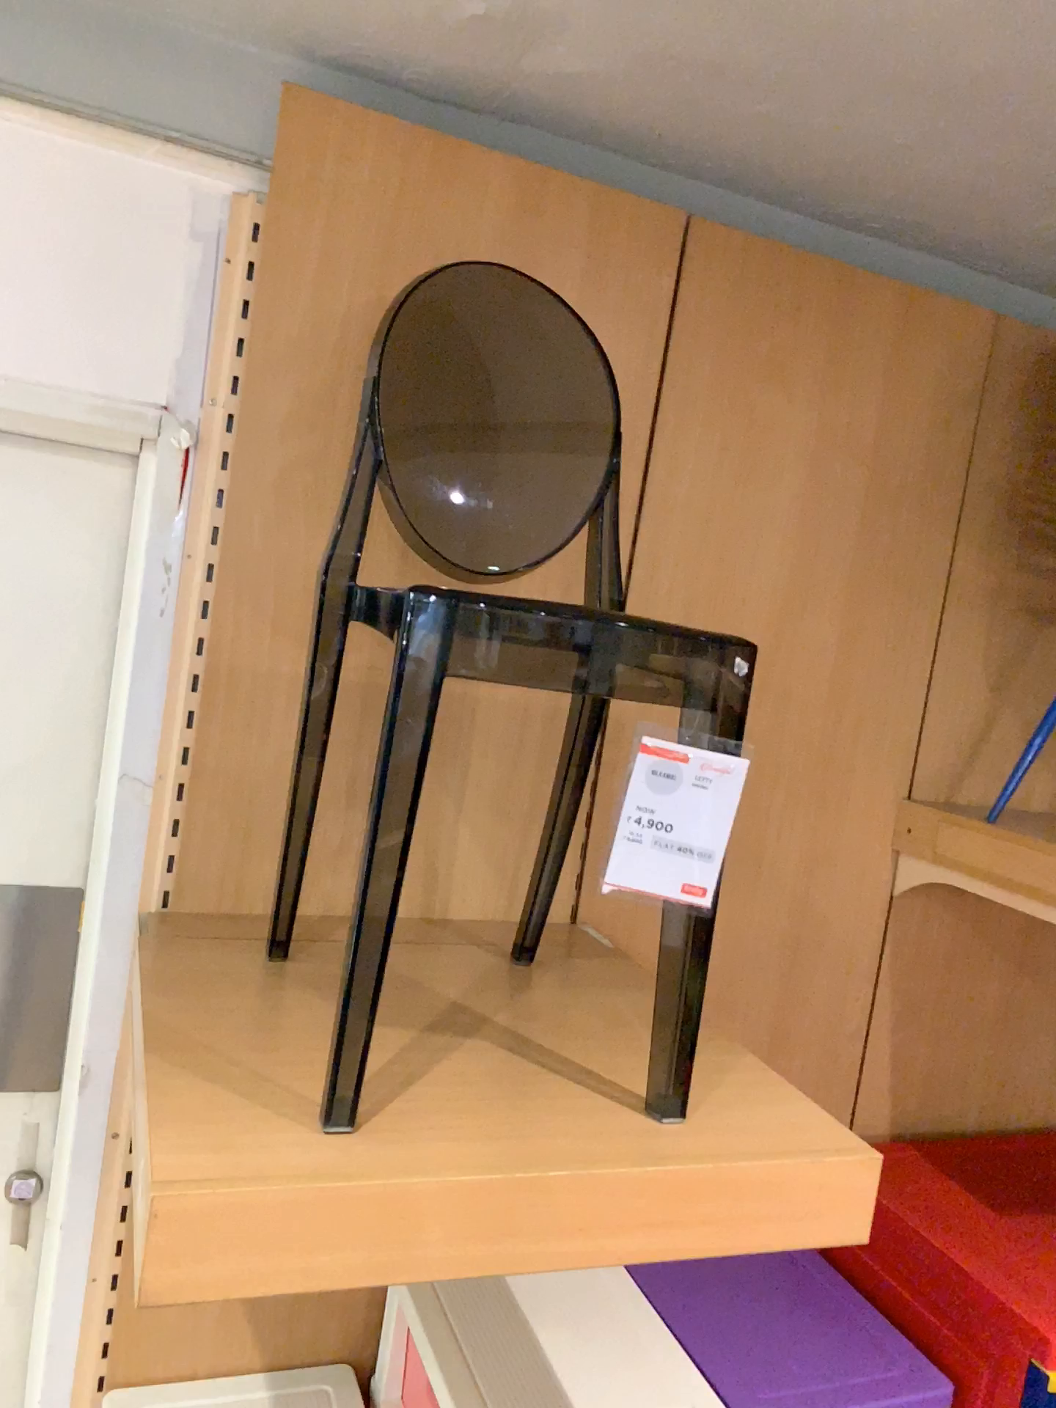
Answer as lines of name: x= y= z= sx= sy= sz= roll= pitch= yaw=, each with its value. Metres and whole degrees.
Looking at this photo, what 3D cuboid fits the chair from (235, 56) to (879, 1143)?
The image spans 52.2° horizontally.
chair: x=-0.020 y=-0.076 z=1.129 sx=0.400 sy=0.849 sz=0.470 roll=7 pitch=4 yaw=-22
